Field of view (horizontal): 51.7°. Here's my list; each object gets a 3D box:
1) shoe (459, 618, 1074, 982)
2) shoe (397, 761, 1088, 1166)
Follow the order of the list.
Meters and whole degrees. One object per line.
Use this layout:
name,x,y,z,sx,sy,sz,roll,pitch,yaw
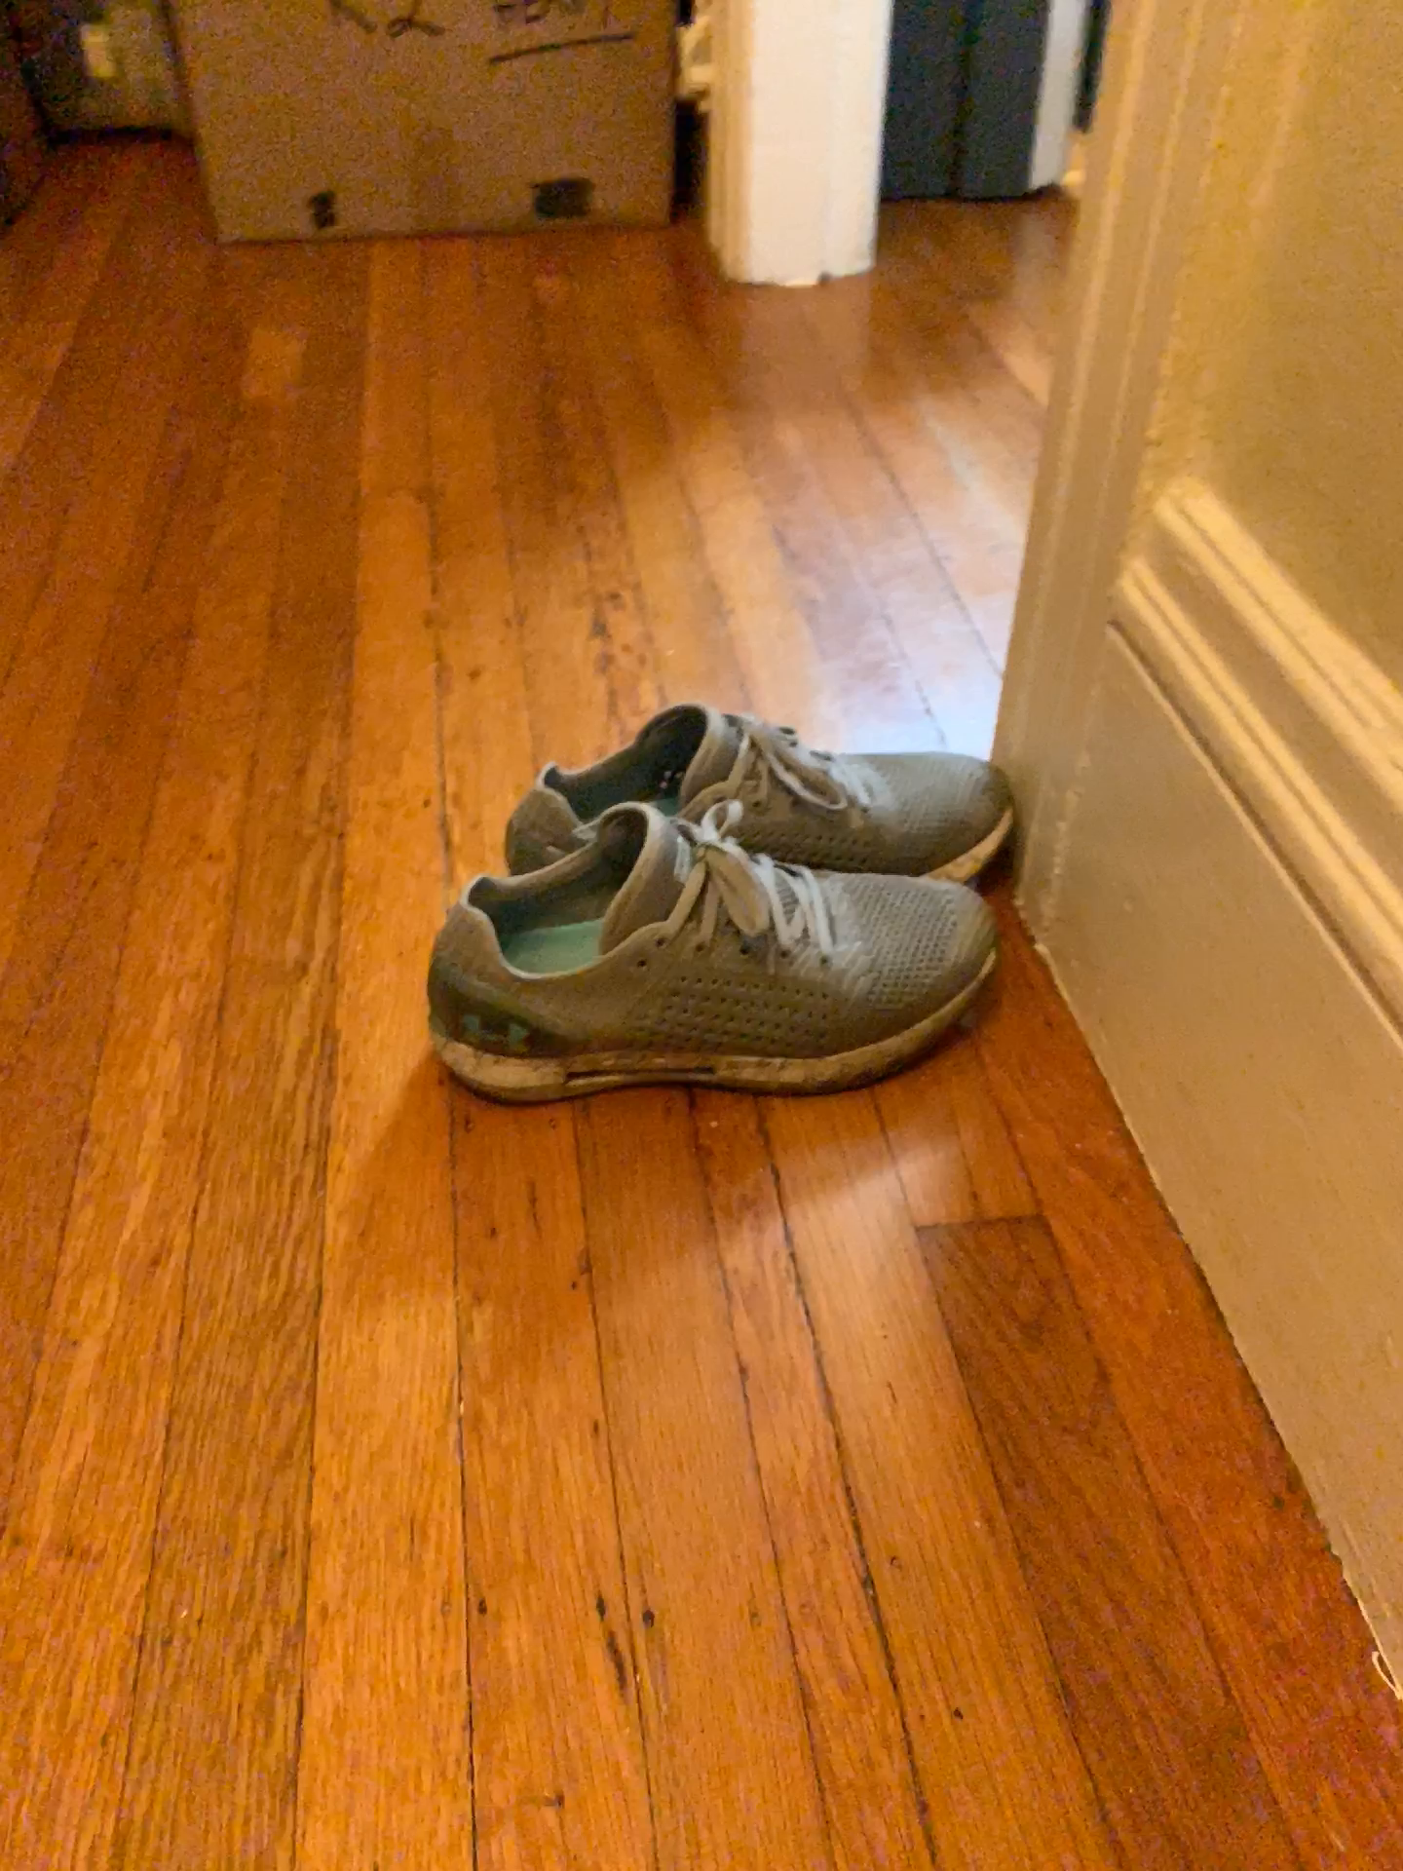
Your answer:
shoe,0.027,-0.070,0.690,0.260,0.080,0.111,-12,43,-13
shoe,0.012,0.008,0.633,0.270,0.089,0.111,-8,43,-9
